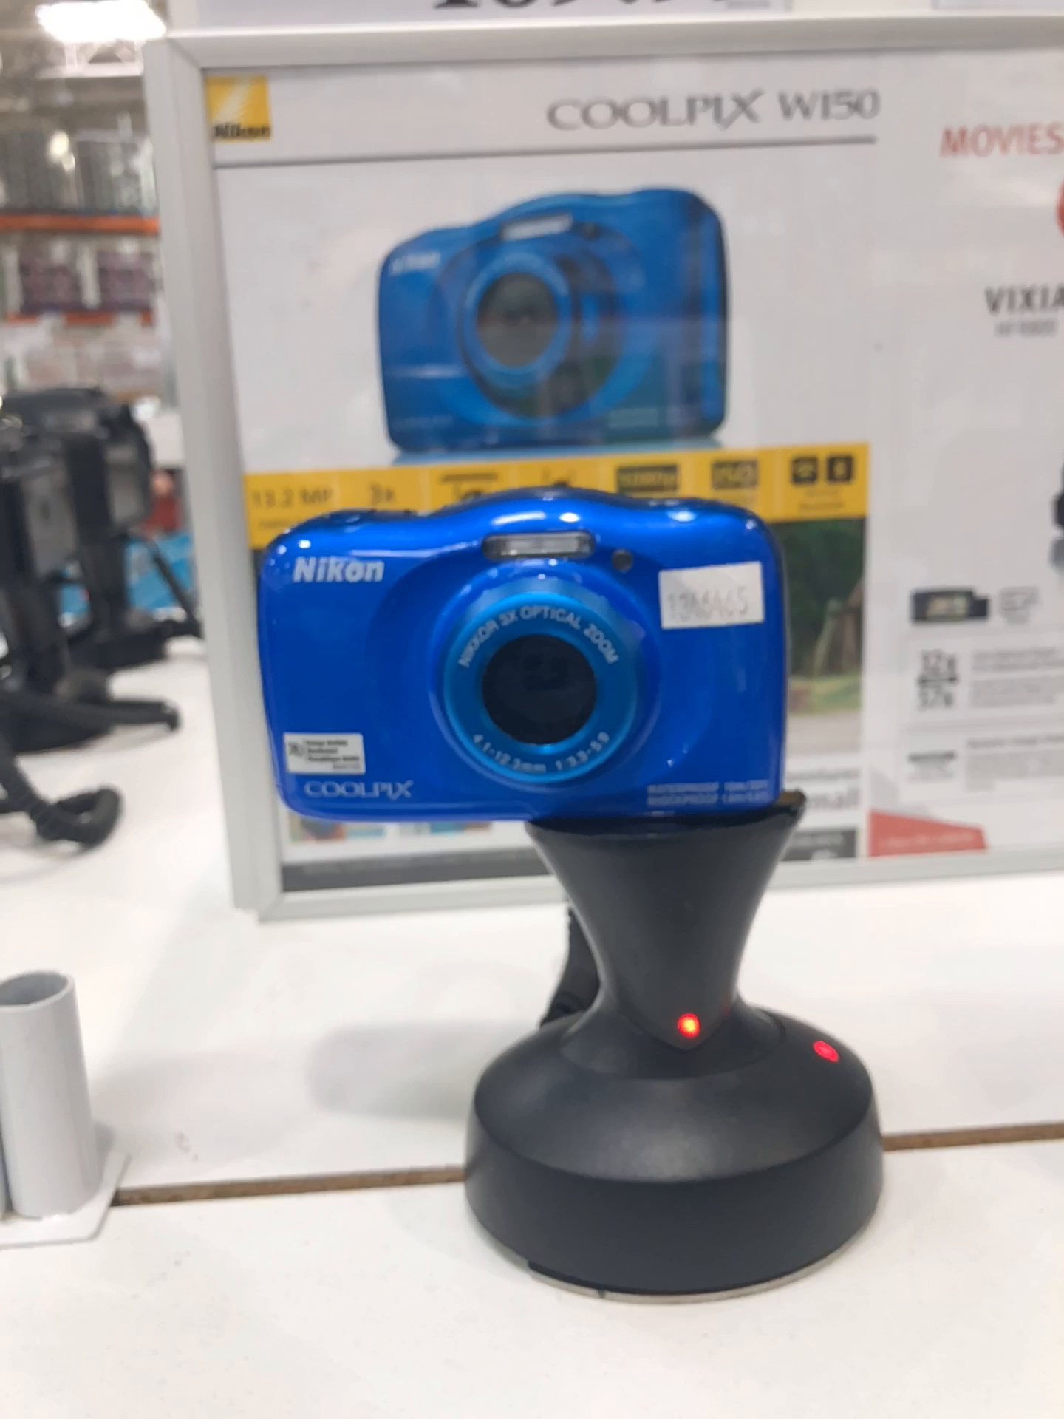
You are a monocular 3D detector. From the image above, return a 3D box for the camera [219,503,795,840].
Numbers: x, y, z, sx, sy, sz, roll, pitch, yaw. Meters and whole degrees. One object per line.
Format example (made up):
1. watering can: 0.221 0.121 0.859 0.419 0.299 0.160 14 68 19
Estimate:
1. camera: -0.004 -0.010 0.257 0.110 0.060 0.040 -2 14 1
